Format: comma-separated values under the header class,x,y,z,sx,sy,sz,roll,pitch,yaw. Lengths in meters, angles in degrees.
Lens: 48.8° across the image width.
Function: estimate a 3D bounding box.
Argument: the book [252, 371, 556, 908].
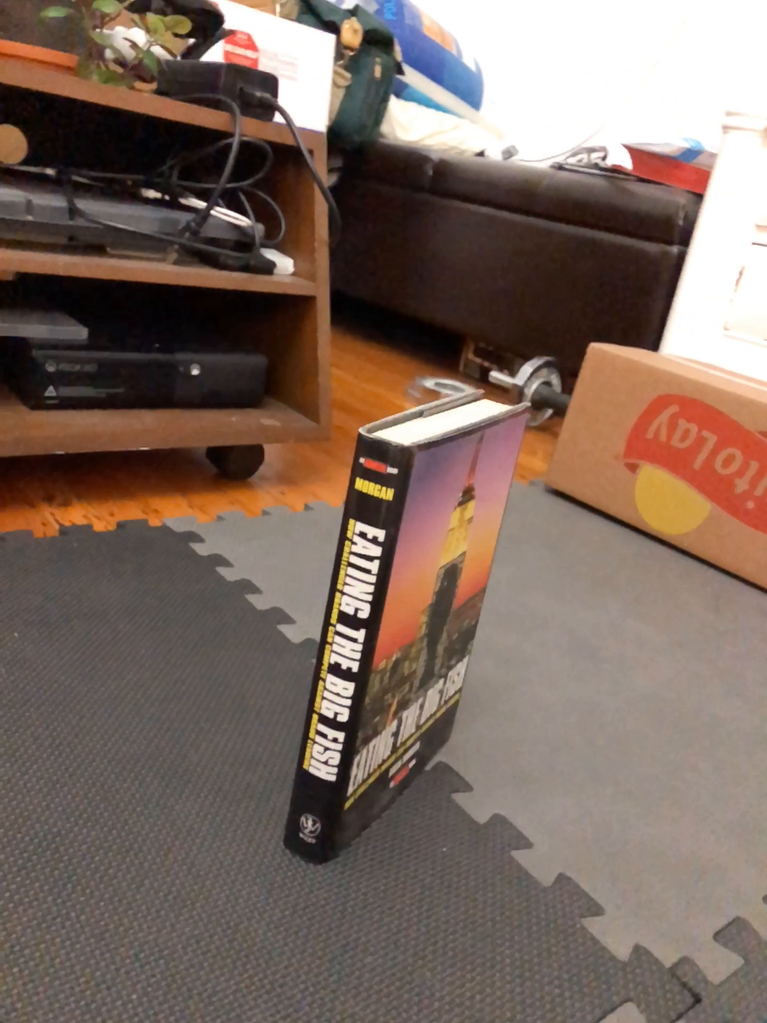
class,x,y,z,sx,sy,sz,roll,pitch,yaw
book,0.016,0.061,0.488,0.050,0.259,0.181,21,23,21
